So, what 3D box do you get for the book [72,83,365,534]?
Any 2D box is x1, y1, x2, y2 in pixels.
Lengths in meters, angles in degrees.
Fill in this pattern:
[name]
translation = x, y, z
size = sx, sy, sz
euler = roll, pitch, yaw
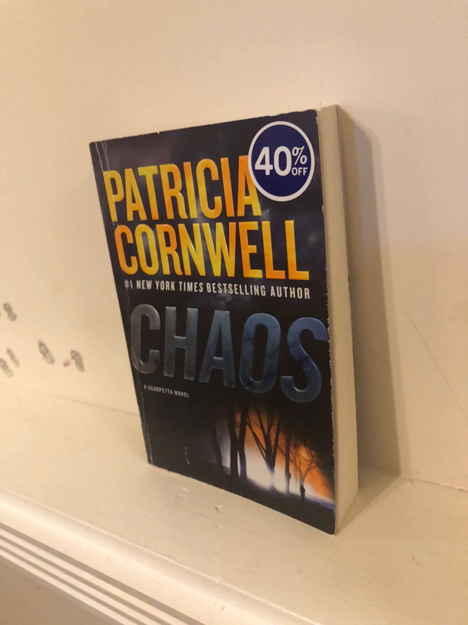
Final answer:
[book]
translation = -0.012, -0.005, 0.319
size = 0.171, 0.219, 0.050
euler = 7, 17, 39
